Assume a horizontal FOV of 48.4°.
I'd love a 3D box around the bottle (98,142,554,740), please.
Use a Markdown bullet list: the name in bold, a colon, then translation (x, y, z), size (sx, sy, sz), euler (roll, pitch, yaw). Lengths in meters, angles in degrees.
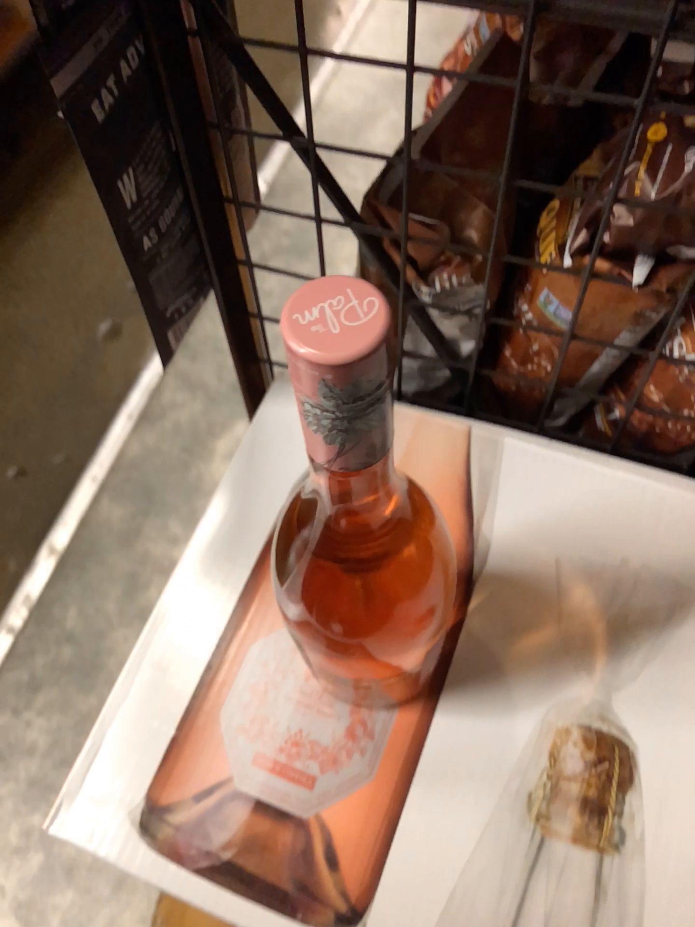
- **bottle**: translation (0.003, 0.027, 0.322), size (0.090, 0.286, 0.087), euler (-1, 59, 2)
